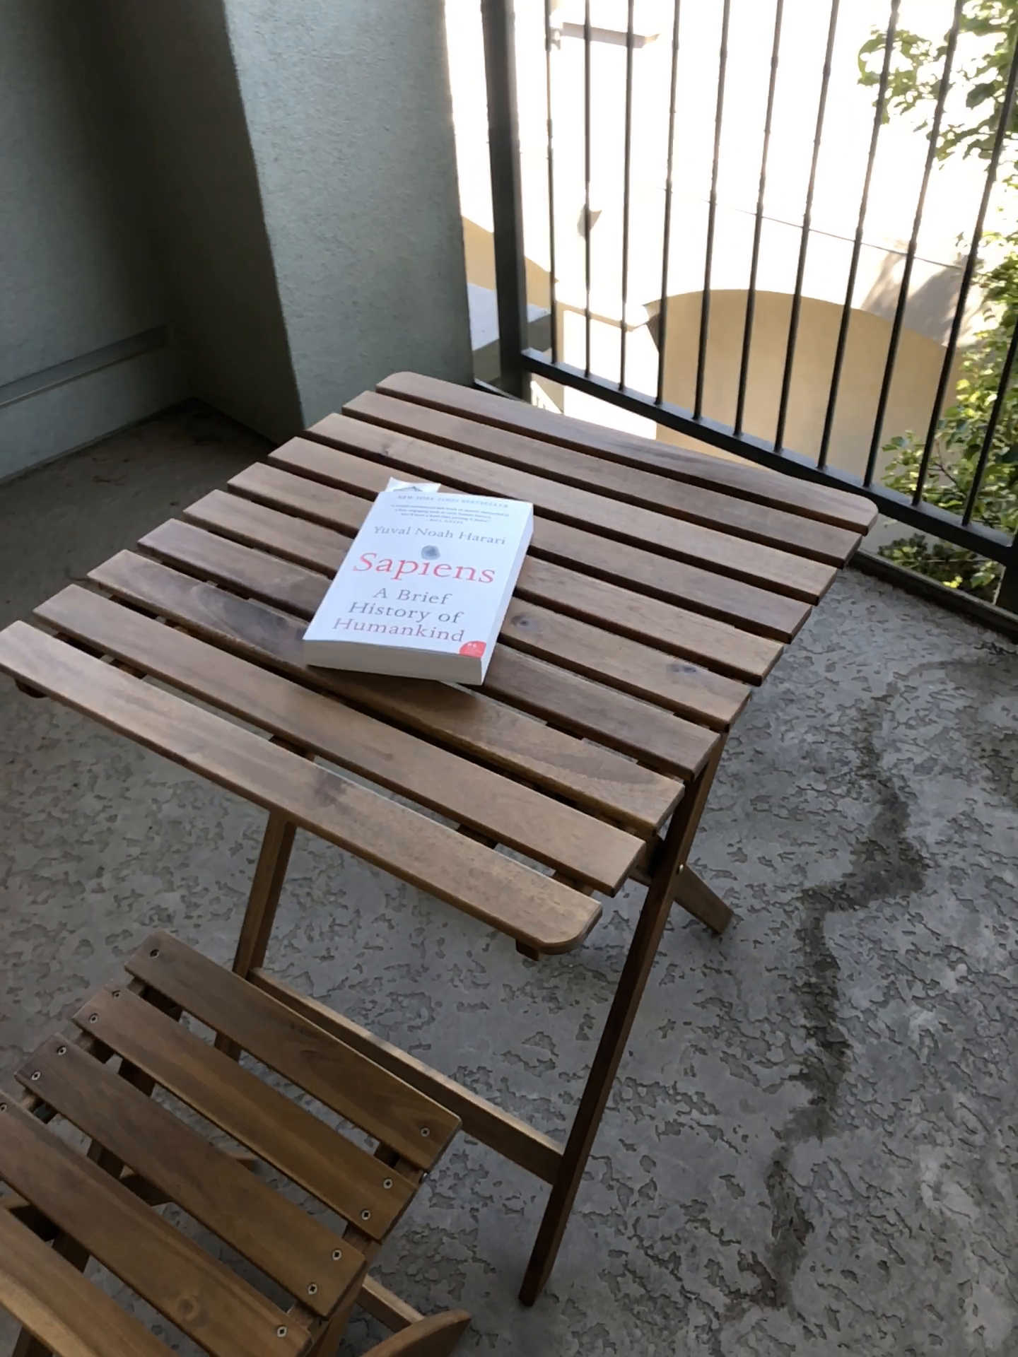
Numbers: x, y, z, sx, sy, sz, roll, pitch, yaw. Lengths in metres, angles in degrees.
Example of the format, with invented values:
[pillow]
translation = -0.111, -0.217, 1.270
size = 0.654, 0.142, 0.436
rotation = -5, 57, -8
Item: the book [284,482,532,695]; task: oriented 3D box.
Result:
[book]
translation = -0.081, -0.089, 1.006
size = 0.160, 0.040, 0.241
rotation = 6, 43, 10
